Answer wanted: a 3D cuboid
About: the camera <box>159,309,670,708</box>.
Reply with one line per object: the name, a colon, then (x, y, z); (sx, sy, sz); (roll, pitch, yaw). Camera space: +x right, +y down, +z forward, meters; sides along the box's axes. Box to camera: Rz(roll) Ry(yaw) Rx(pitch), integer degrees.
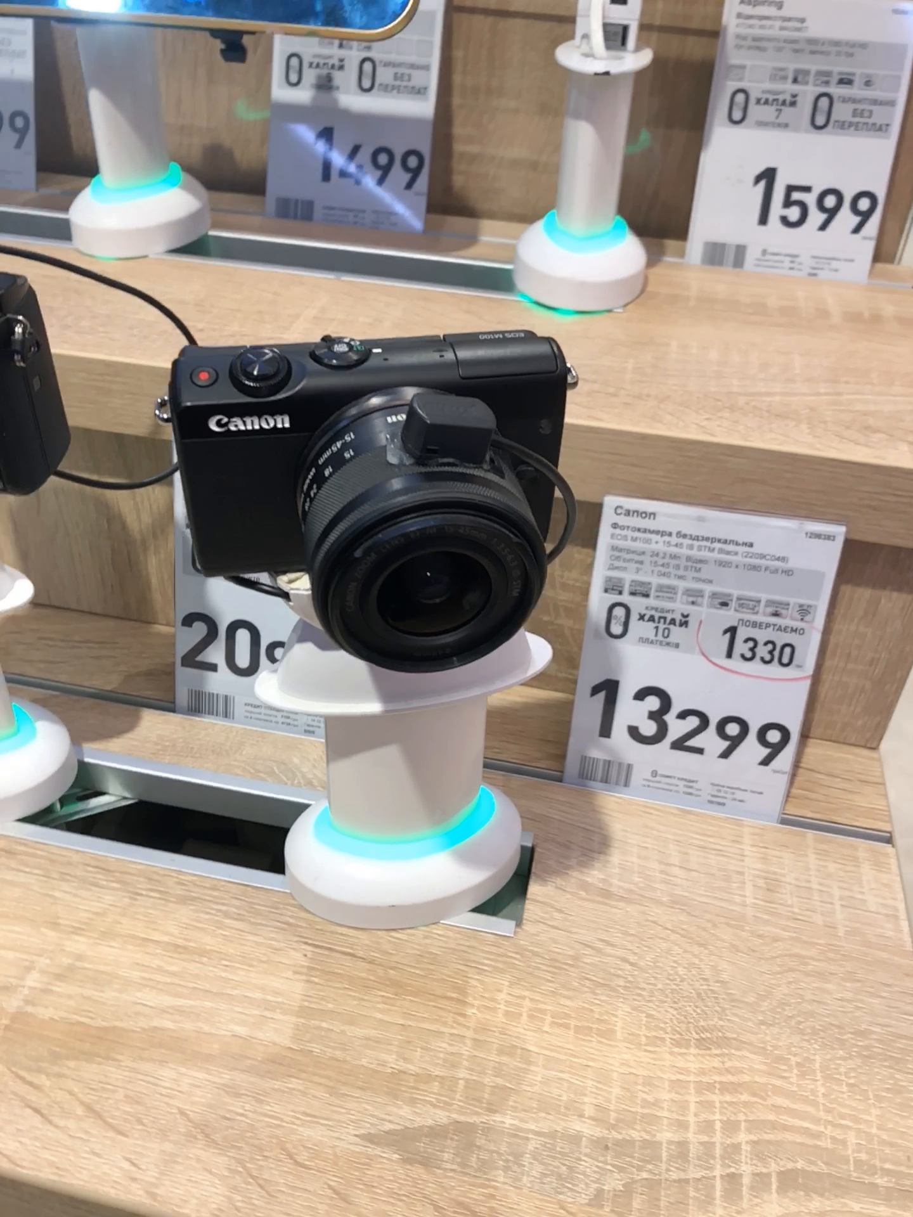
camera: (-0.017, -0.031, 0.267); (0.112, 0.060, 0.082); (-6, 41, -11)
